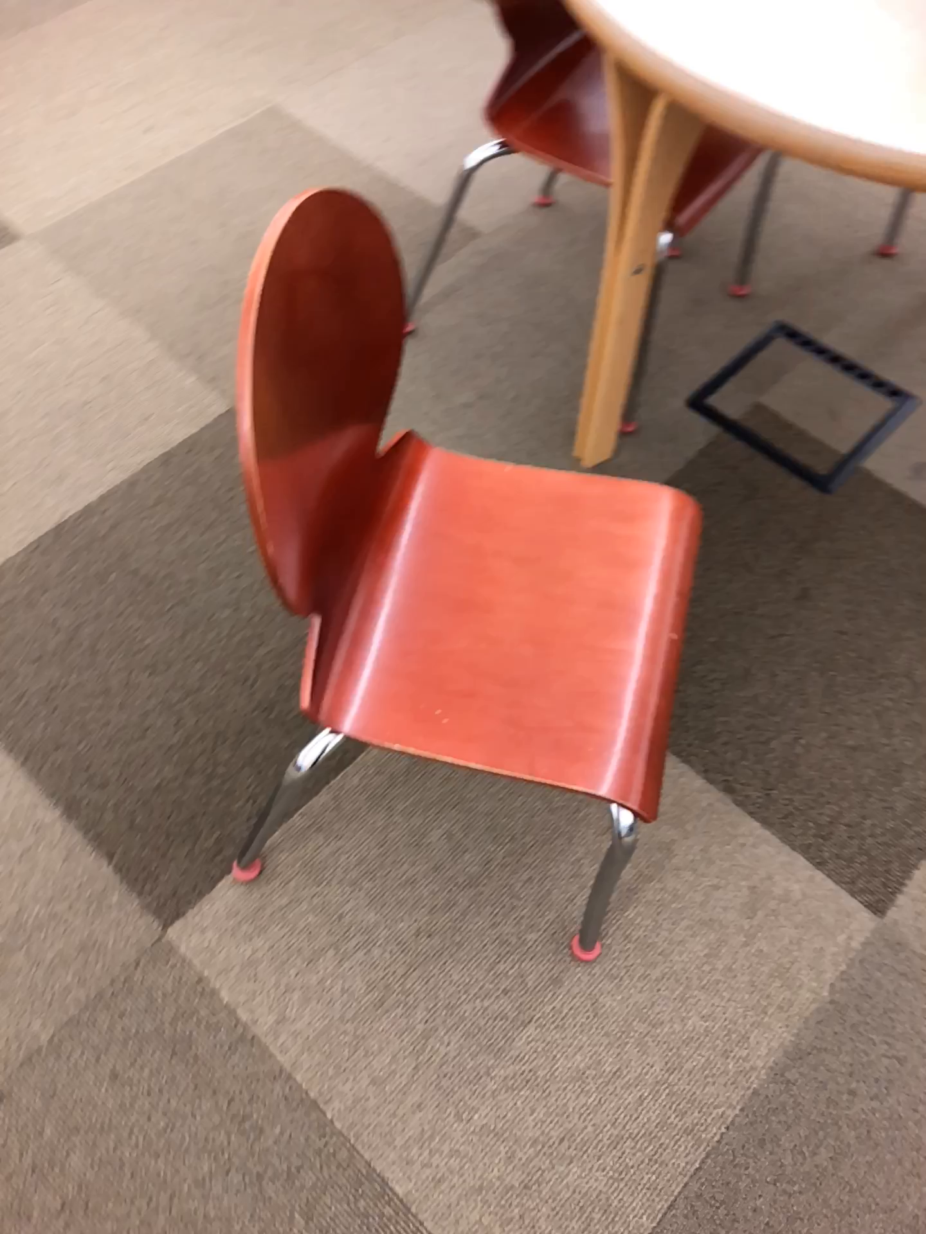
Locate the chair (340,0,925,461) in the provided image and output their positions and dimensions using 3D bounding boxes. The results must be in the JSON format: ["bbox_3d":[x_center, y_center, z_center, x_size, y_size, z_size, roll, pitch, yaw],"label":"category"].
[{"bbox_3d":[0.213,-0.736,1.464,0.508,0.721,0.508,31,62,18],"label":"chair"}]

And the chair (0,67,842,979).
[{"bbox_3d":[0.006,-0.031,1.023,0.488,0.721,0.488,12,58,7],"label":"chair"}]
